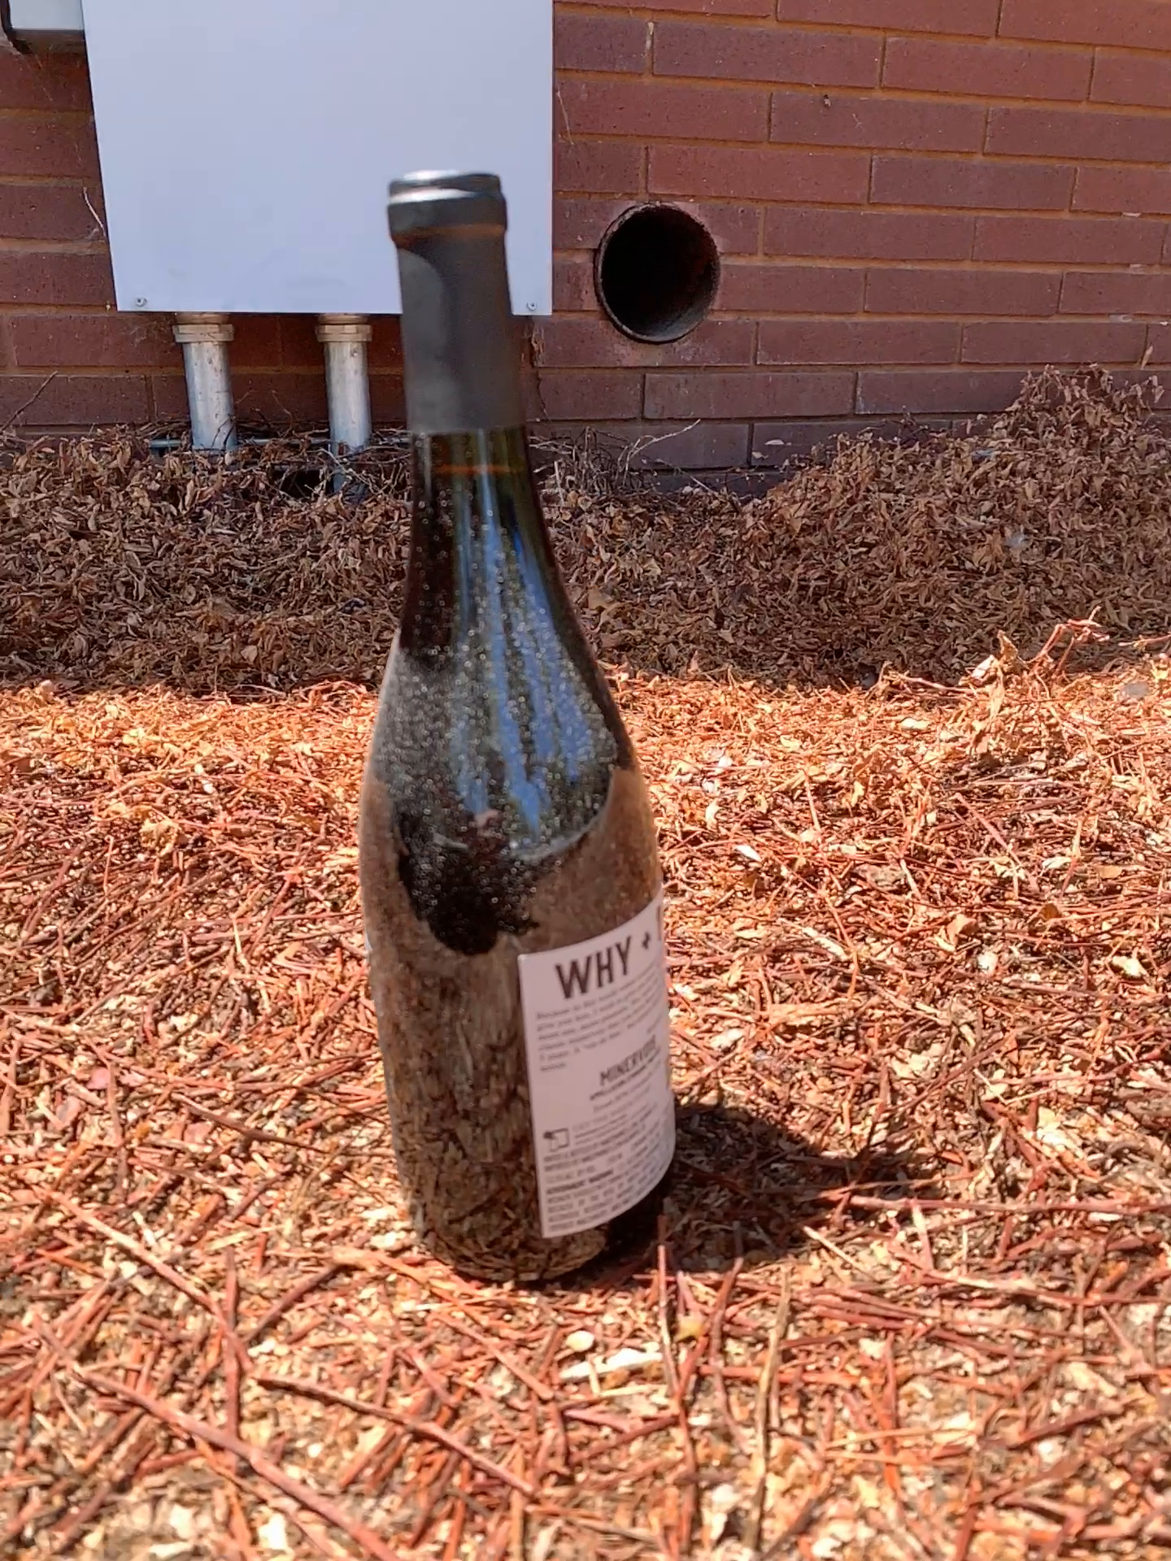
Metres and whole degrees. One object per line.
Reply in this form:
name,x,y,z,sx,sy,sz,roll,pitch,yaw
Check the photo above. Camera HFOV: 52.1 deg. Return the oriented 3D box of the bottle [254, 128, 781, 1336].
bottle,-0.012,-0.007,0.316,0.090,0.279,0.090,1,21,0
